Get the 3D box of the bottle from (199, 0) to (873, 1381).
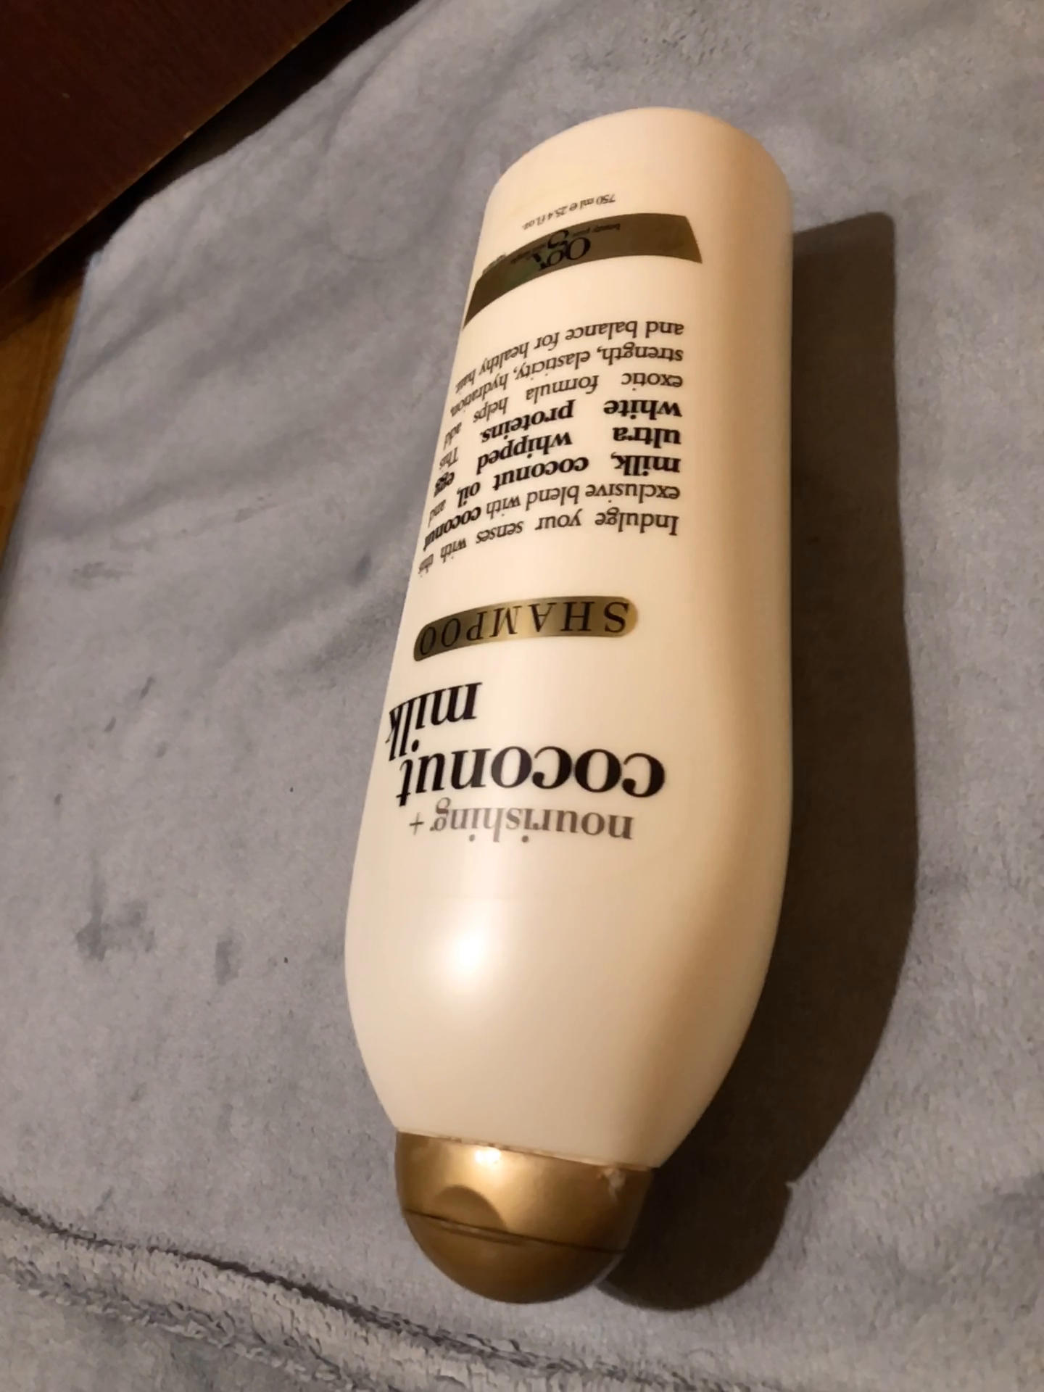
[{"bbox_3d":[0.011,-0.013,0.209,0.080,0.040,0.220,-6,65,37],"label":"bottle"}]
